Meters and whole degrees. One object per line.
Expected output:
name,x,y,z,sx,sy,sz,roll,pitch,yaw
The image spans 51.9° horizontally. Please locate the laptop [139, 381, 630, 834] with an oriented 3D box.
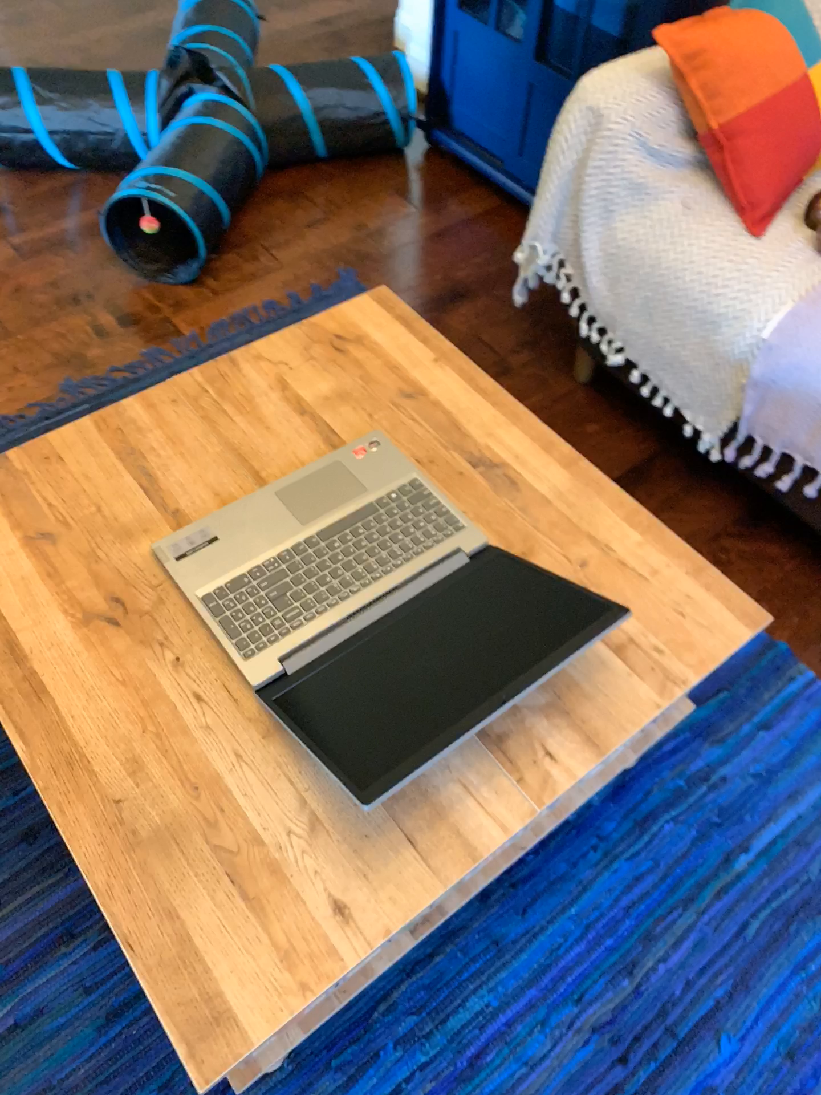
laptop,-0.045,0.031,0.984,0.346,0.099,0.462,-31,58,-24
